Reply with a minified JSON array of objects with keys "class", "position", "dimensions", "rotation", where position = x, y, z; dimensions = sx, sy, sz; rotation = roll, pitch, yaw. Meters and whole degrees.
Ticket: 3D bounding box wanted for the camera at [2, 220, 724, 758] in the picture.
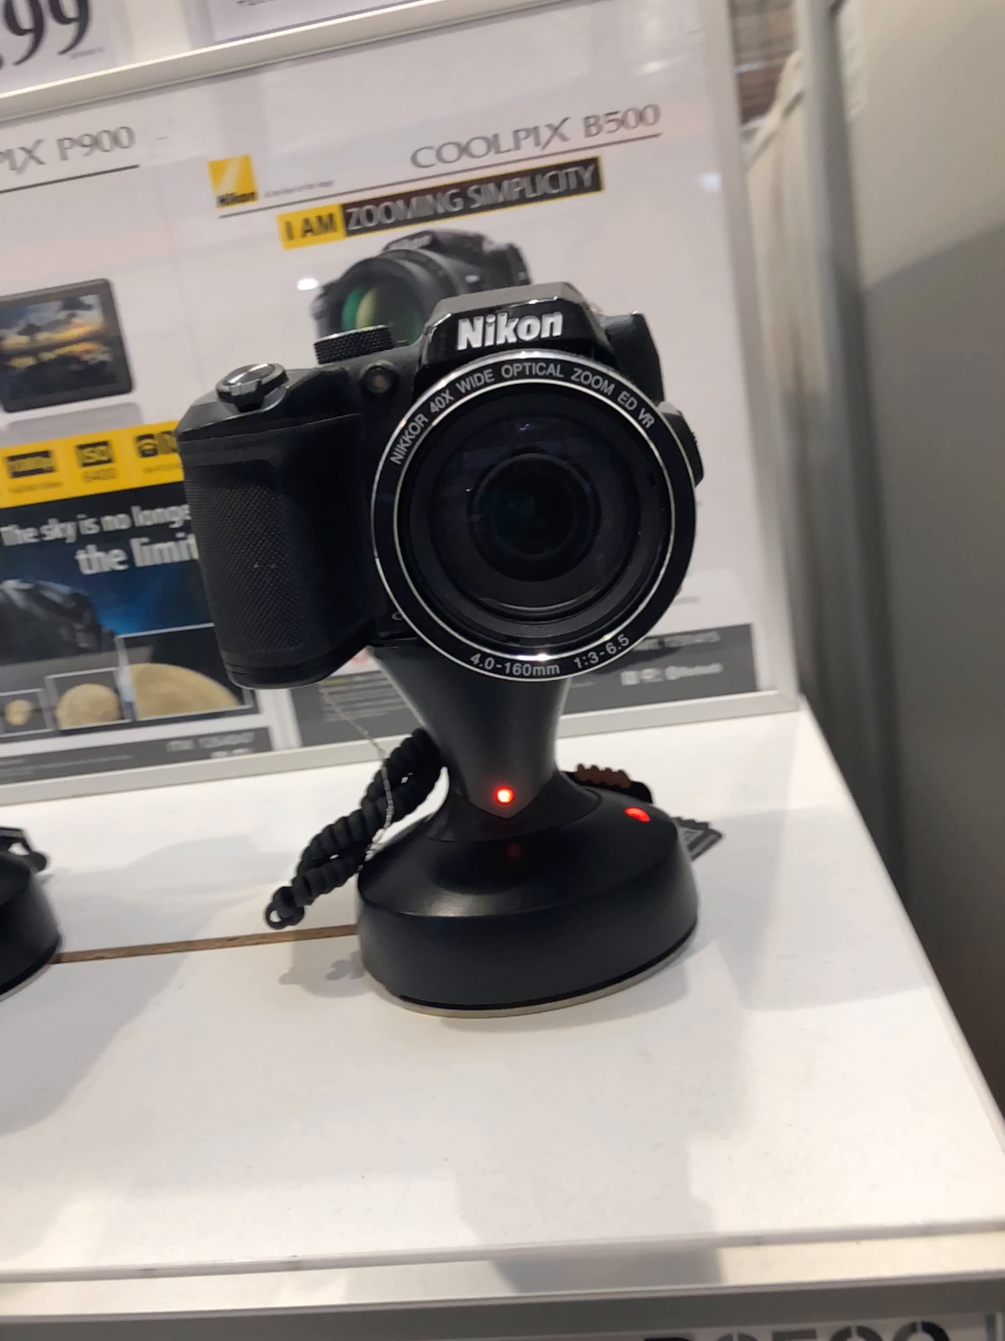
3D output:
[{"class":"camera","position":[-0.022,-0.042,0.248],"dimensions":[0.120,0.080,0.090],"rotation":[-8,15,5]}]
